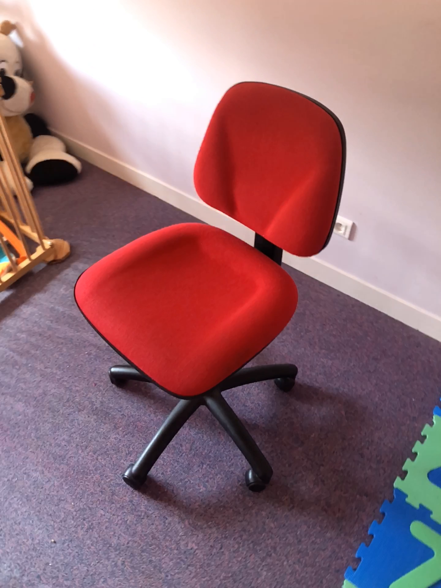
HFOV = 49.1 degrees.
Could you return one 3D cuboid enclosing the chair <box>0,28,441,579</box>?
[{"bbox_3d":[-0.048,0.027,1.131,0.673,0.895,0.641,-36,57,-29],"label":"chair"}]
